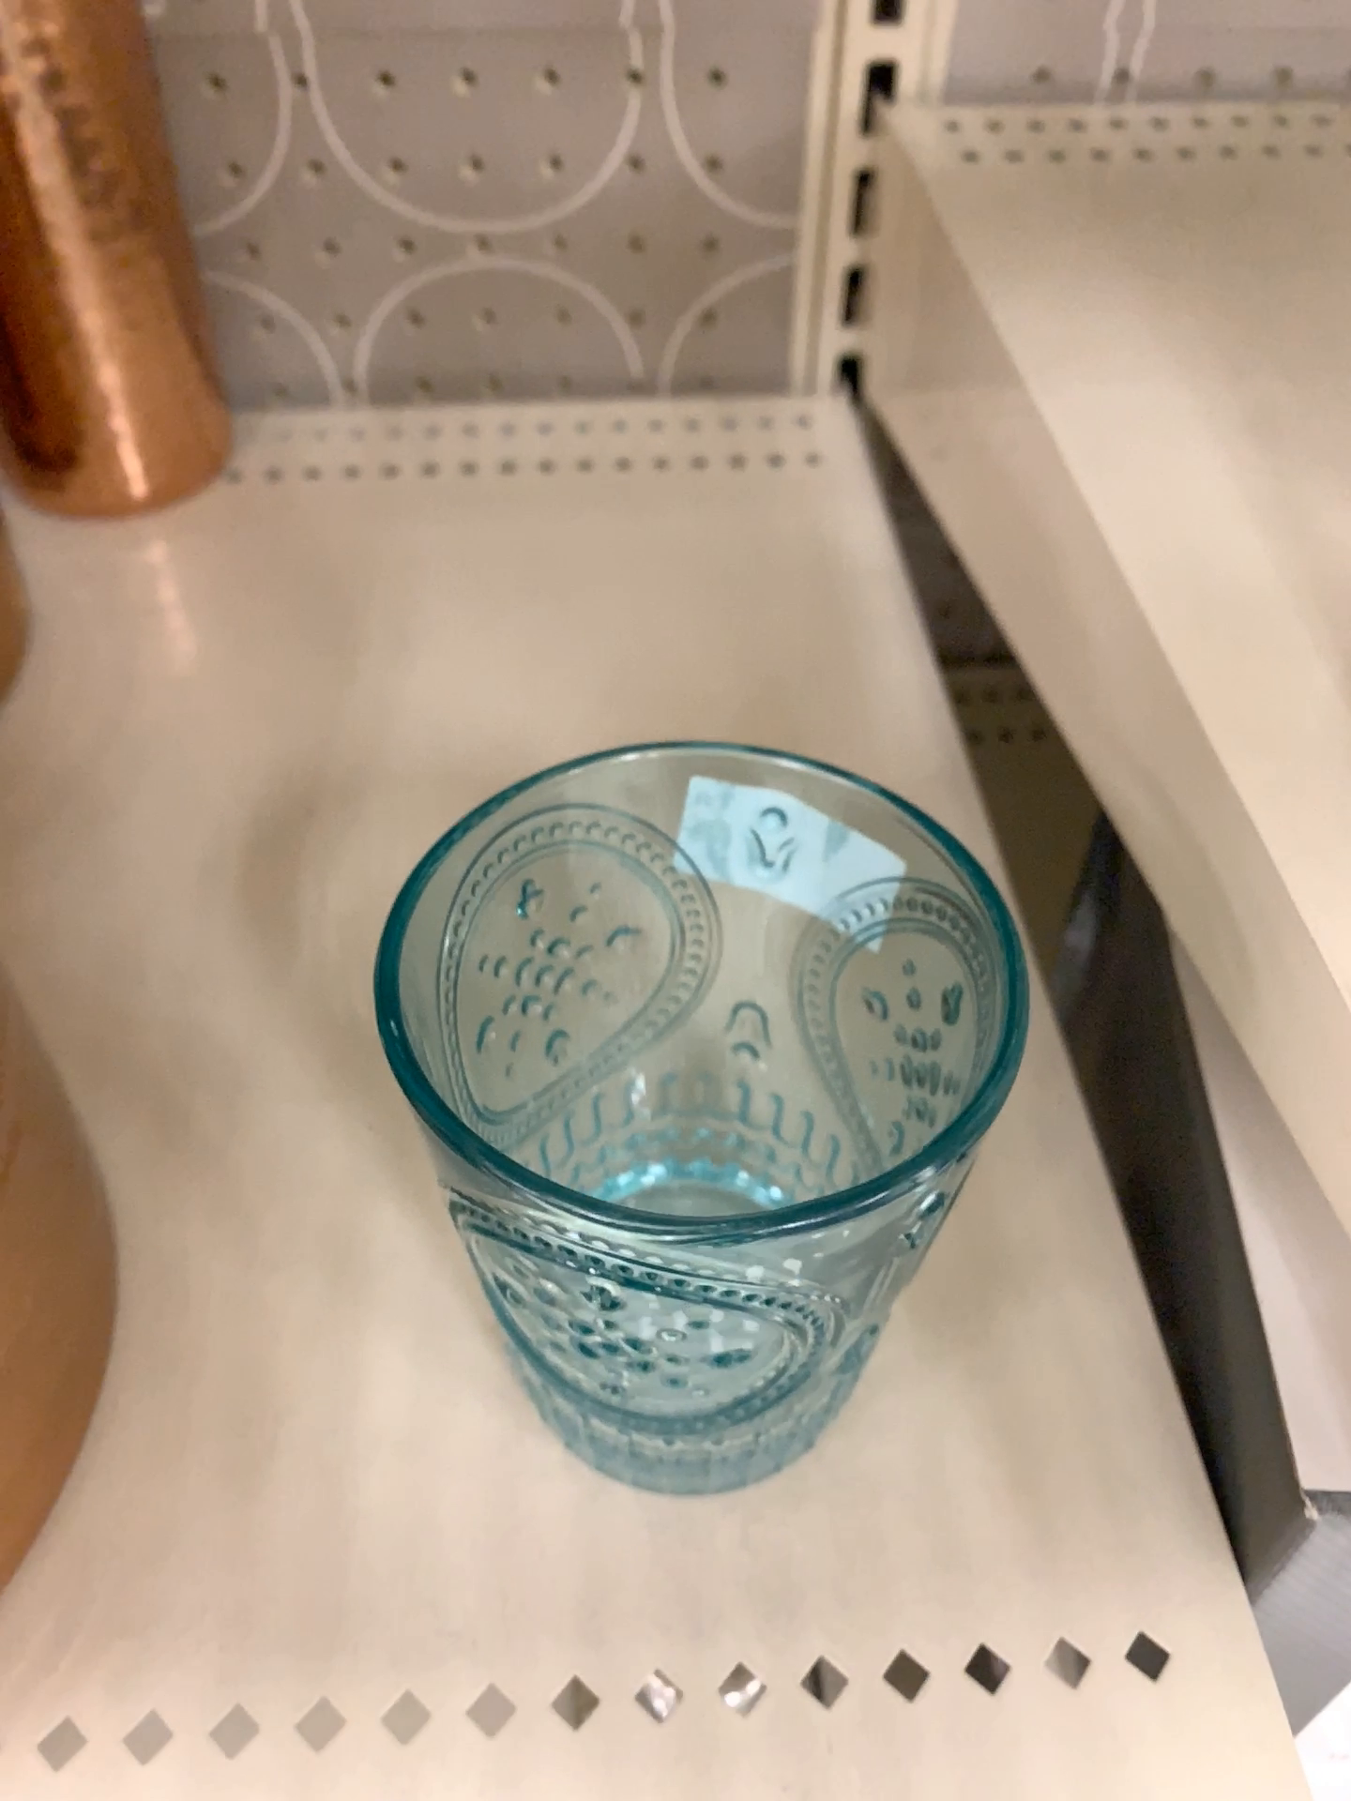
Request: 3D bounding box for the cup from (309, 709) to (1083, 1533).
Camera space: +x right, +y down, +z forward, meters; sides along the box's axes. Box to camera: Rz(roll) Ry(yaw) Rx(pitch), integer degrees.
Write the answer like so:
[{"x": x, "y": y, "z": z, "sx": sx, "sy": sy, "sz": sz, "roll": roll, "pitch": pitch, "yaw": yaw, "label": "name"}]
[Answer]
[{"x": 0.000, "y": 0.033, "z": 0.203, "sx": 0.078, "sy": 0.091, "sz": 0.076, "roll": 0, "pitch": 48, "yaw": 0, "label": "cup"}]
